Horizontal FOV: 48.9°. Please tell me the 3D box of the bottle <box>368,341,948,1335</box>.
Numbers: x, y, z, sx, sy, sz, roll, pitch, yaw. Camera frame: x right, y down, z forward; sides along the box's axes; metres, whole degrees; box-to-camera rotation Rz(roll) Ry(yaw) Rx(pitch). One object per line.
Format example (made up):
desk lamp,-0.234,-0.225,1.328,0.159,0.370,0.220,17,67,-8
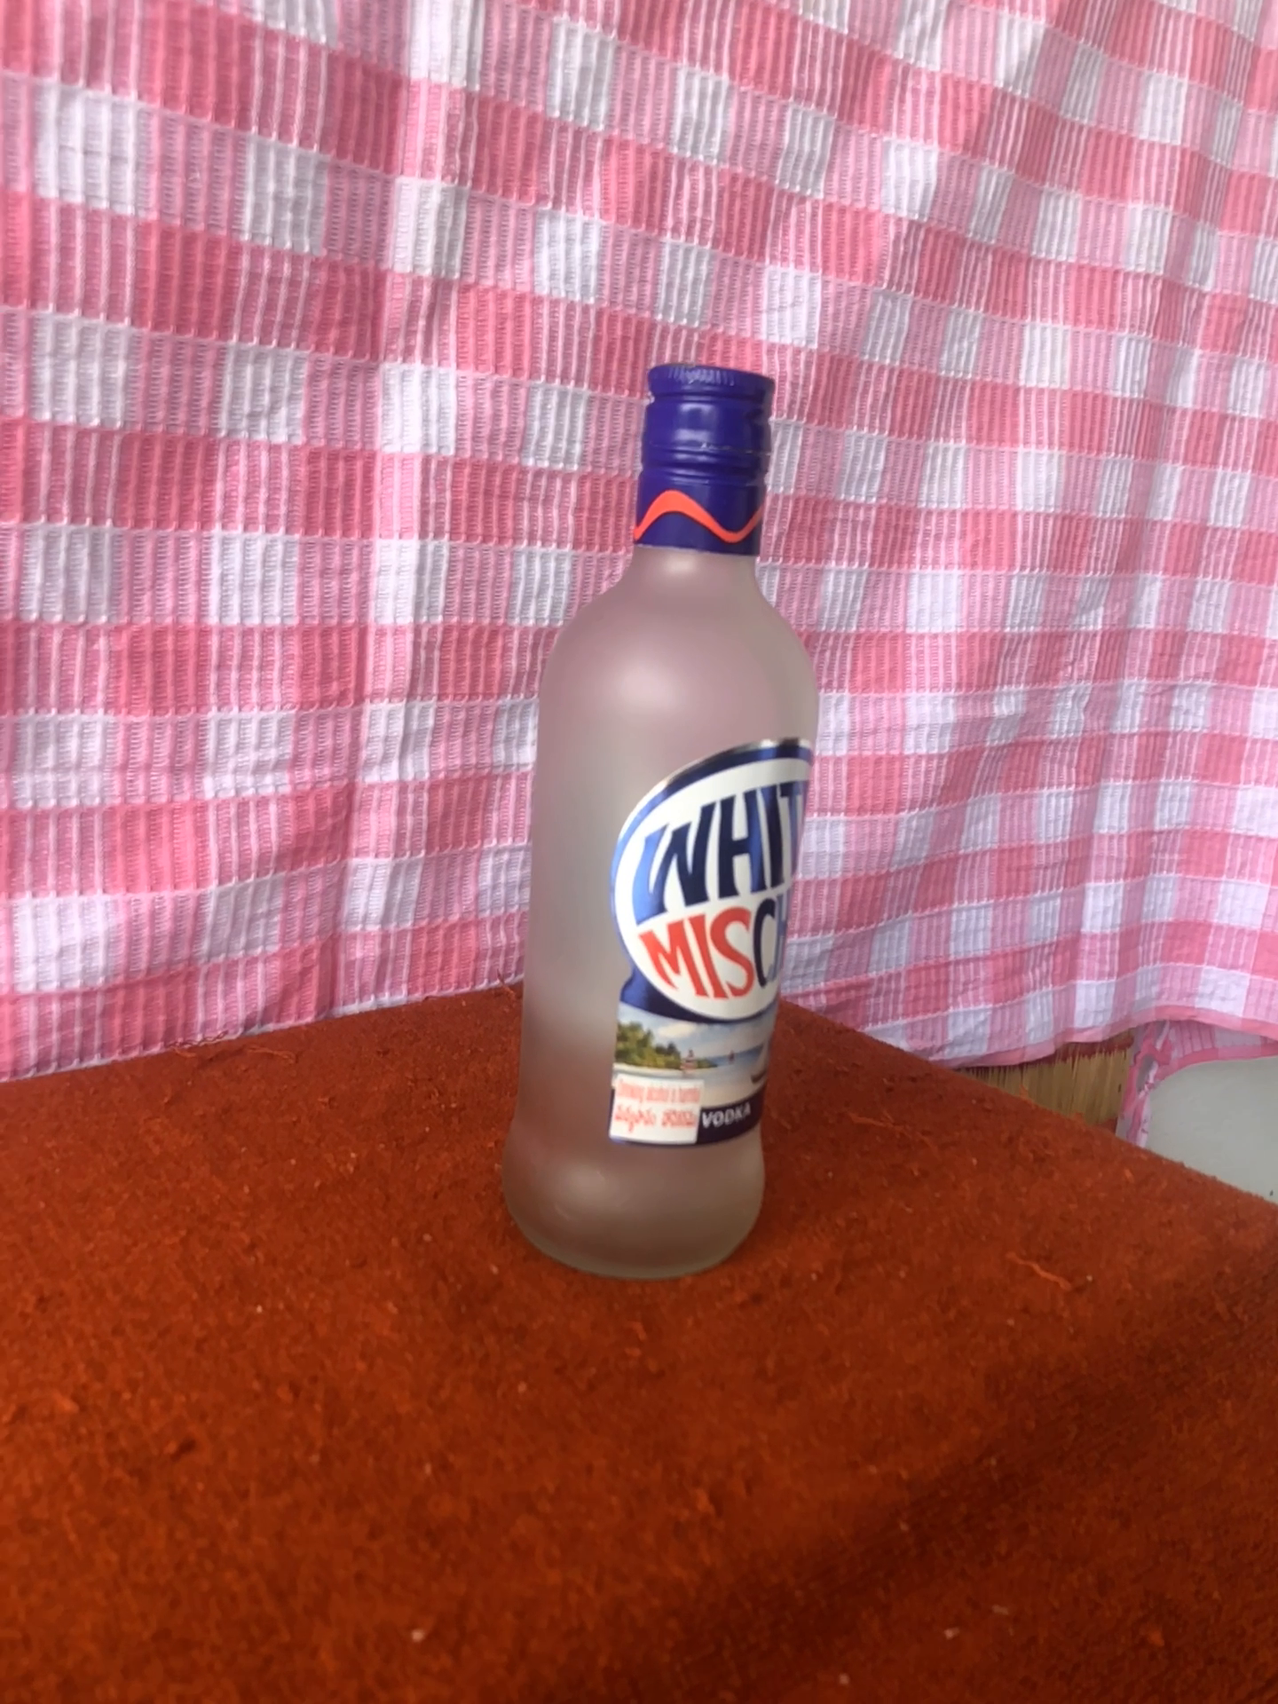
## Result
bottle,0.000,-0.006,0.326,0.080,0.199,0.070,-4,18,-42
